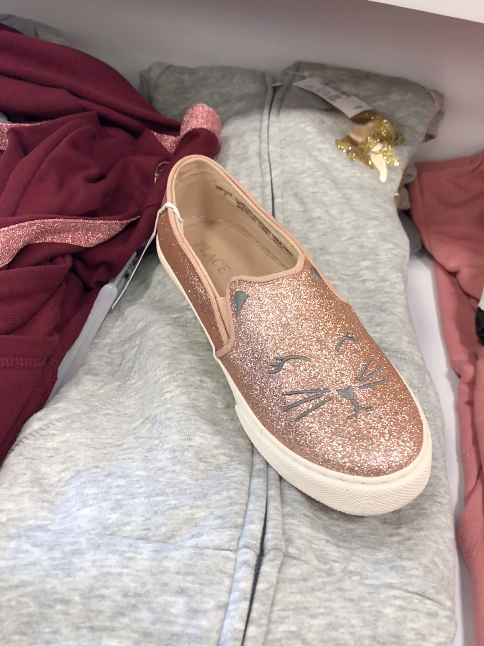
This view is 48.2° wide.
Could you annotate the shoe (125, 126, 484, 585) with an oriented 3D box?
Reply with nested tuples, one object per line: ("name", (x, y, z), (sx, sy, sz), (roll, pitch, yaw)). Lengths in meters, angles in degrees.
("shoe", (0.020, -0.008, 0.273), (0.090, 0.080, 0.221), (-14, 49, -23))
